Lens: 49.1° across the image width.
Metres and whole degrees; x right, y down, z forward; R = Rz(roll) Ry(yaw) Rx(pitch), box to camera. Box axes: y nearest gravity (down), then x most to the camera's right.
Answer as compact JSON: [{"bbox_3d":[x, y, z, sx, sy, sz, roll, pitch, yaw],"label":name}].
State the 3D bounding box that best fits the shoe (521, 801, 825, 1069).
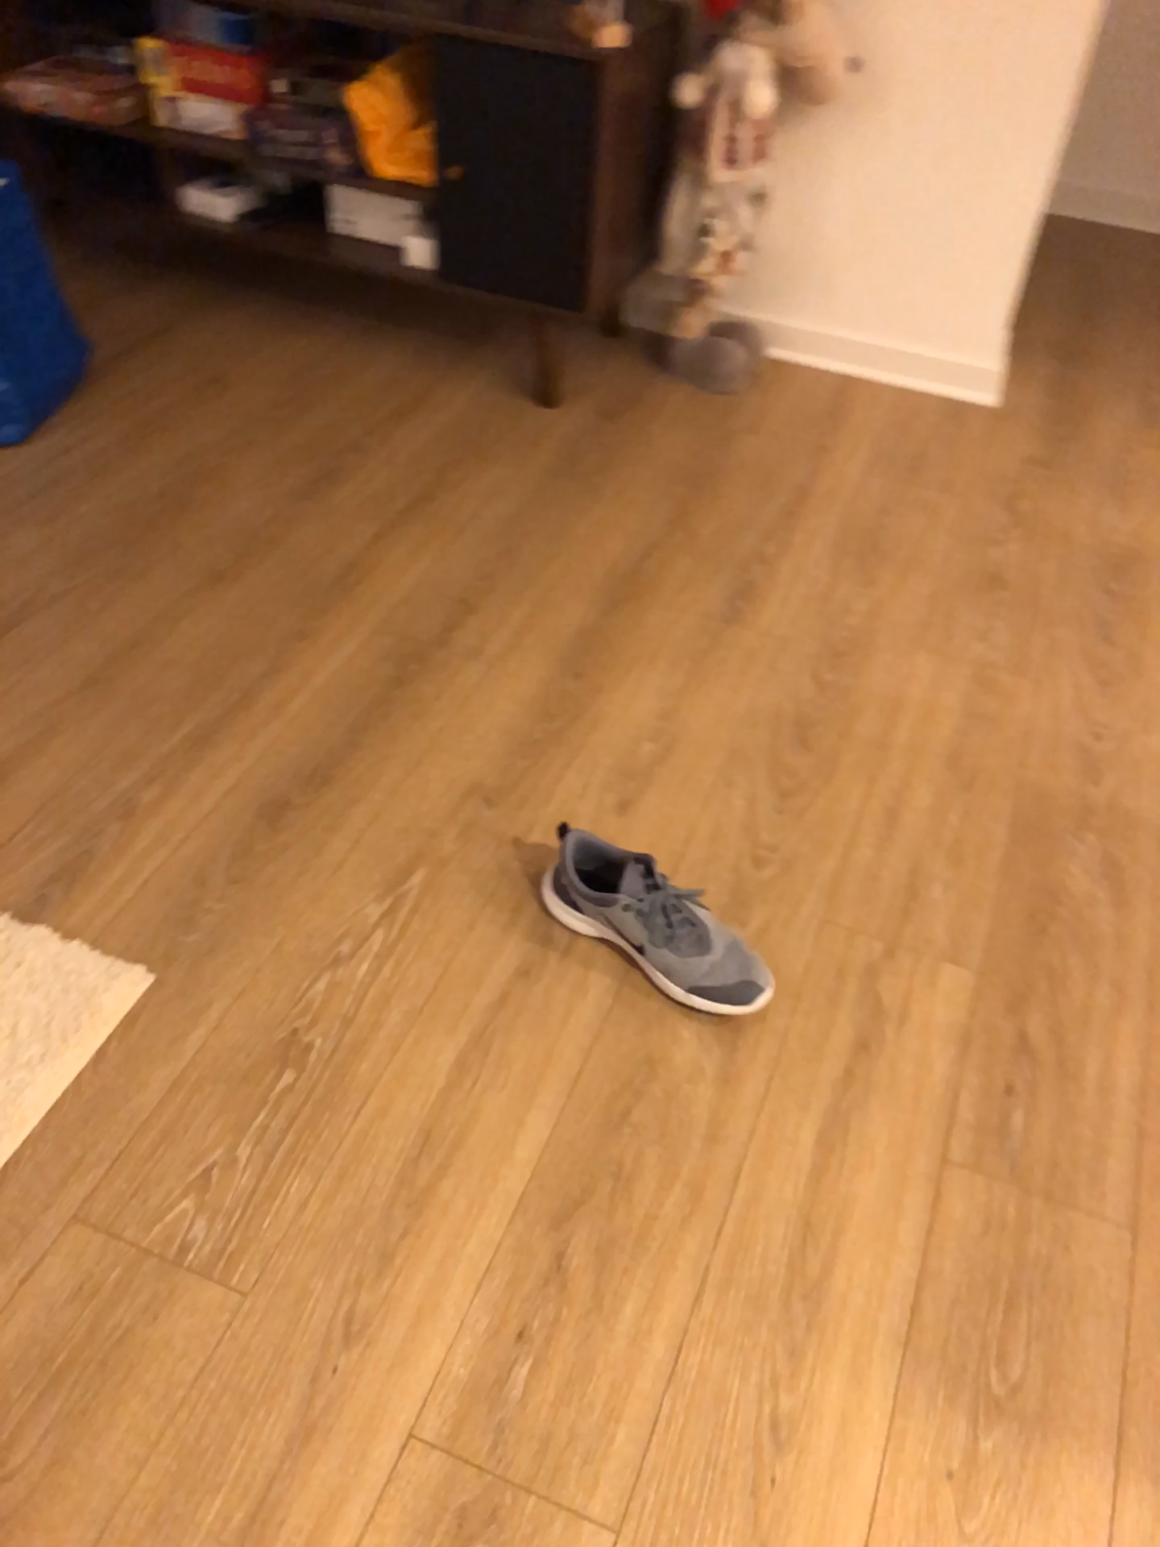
[{"bbox_3d":[0.095,0.169,1.393,0.300,0.089,0.141,31,48,26],"label":"shoe"}]
